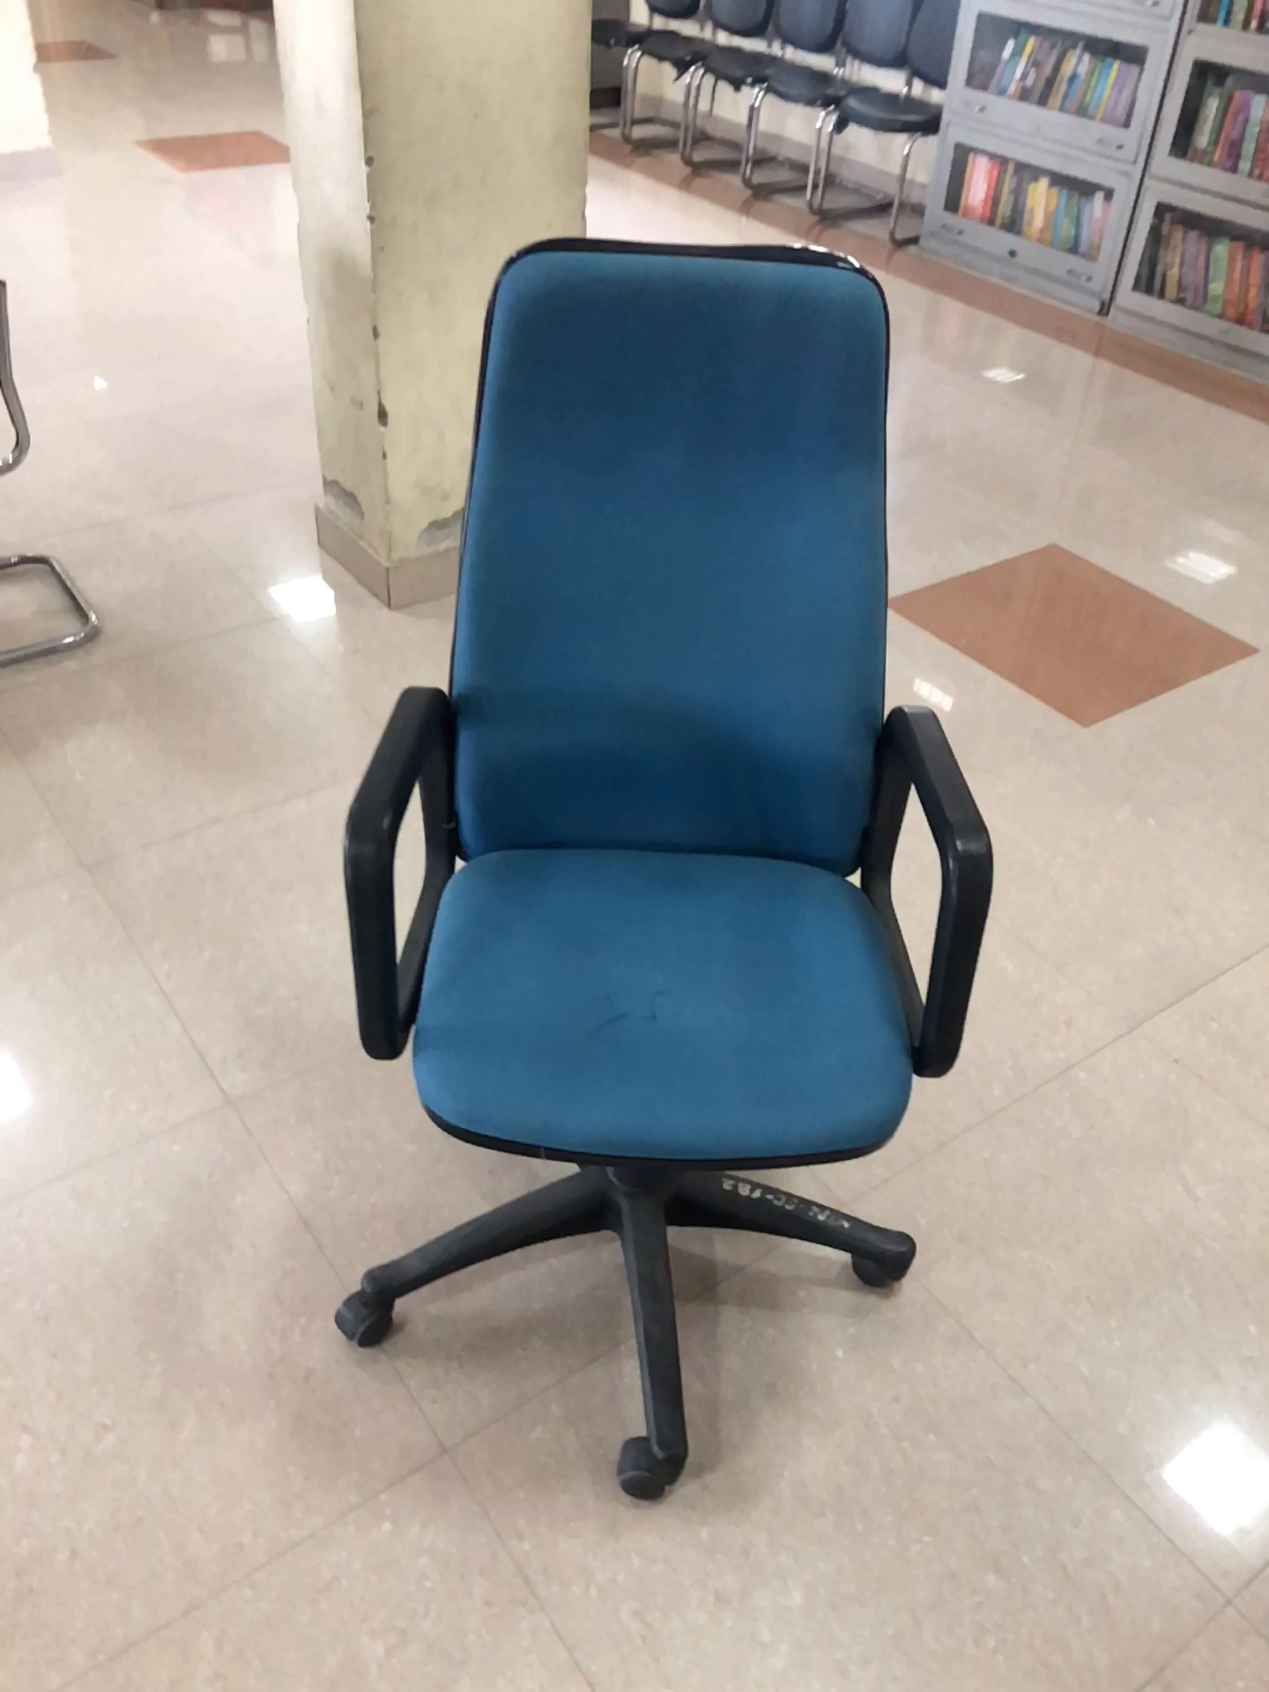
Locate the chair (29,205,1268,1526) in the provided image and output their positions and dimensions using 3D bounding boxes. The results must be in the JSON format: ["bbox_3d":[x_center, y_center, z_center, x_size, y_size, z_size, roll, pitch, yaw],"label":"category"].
[{"bbox_3d":[0.005,0.037,1.428,0.740,1.076,0.763,3,38,-1],"label":"chair"}]
